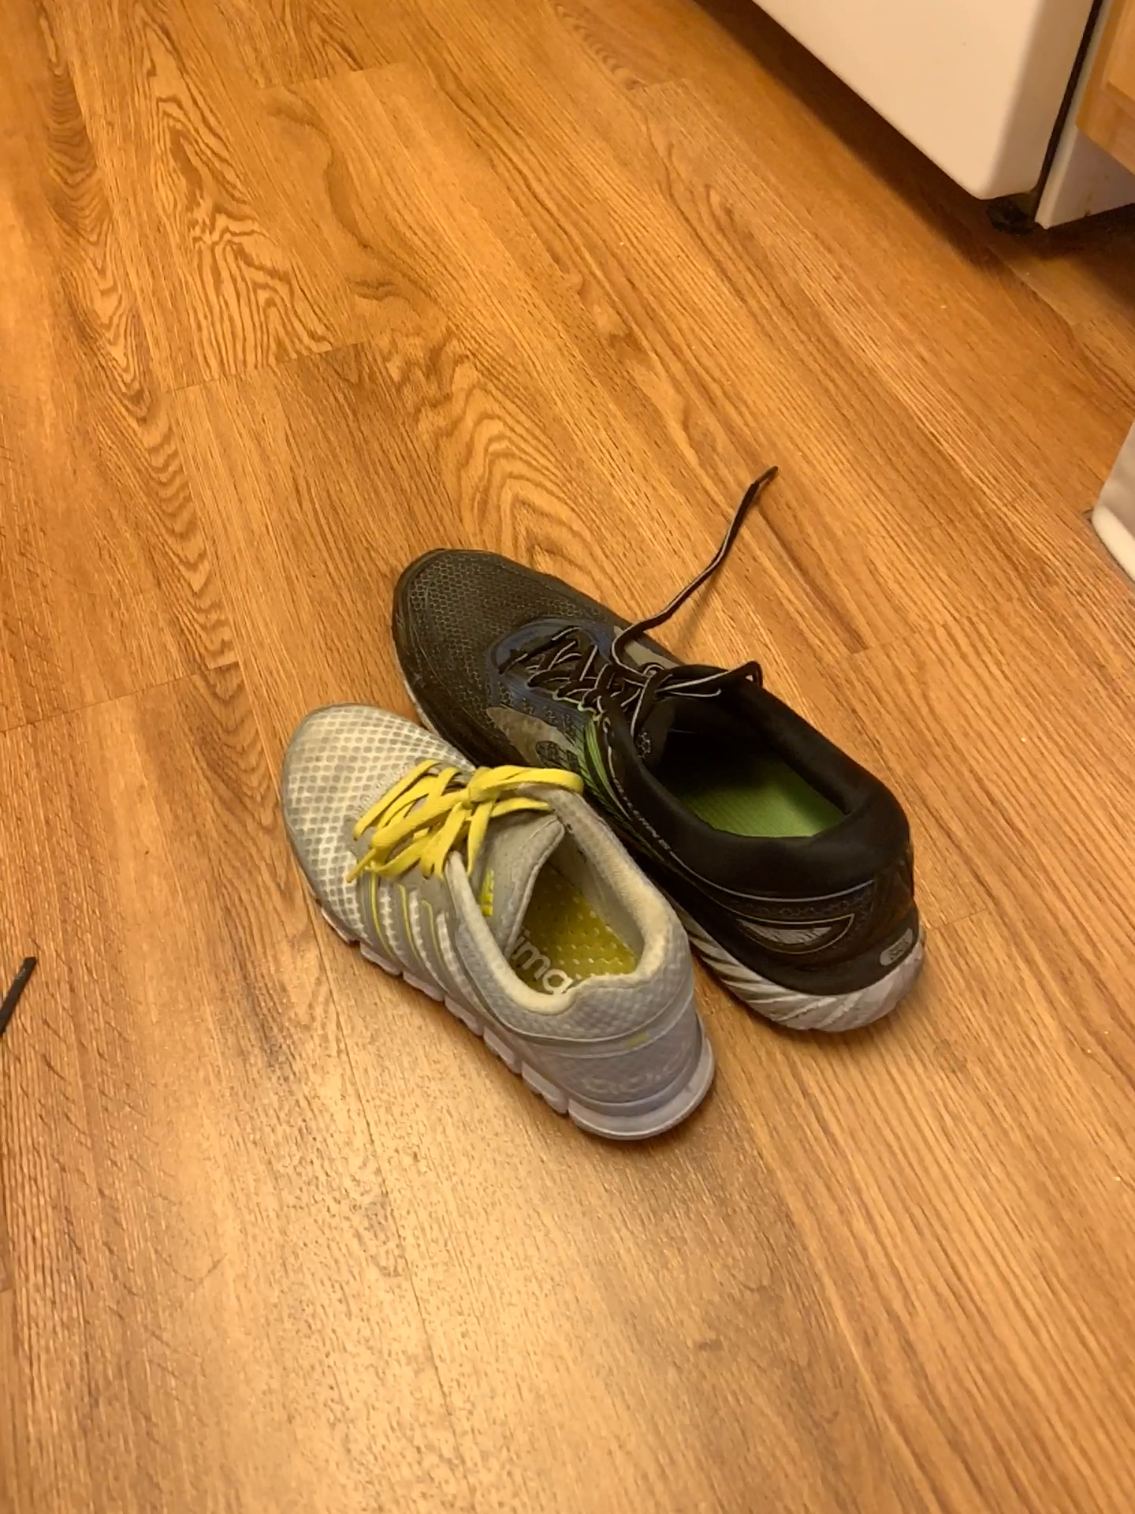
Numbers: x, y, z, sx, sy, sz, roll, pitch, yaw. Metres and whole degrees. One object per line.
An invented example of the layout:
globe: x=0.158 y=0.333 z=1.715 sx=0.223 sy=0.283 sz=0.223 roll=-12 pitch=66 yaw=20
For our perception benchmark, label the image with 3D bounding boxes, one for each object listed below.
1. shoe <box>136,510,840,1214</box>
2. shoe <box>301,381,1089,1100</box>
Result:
shoe: x=-0.036 y=0.031 z=0.446 sx=0.100 sy=0.110 sz=0.251 roll=-40 pitch=62 yaw=-23
shoe: x=0.034 y=-0.019 z=0.473 sx=0.110 sy=0.110 sz=0.291 roll=-39 pitch=62 yaw=-23
